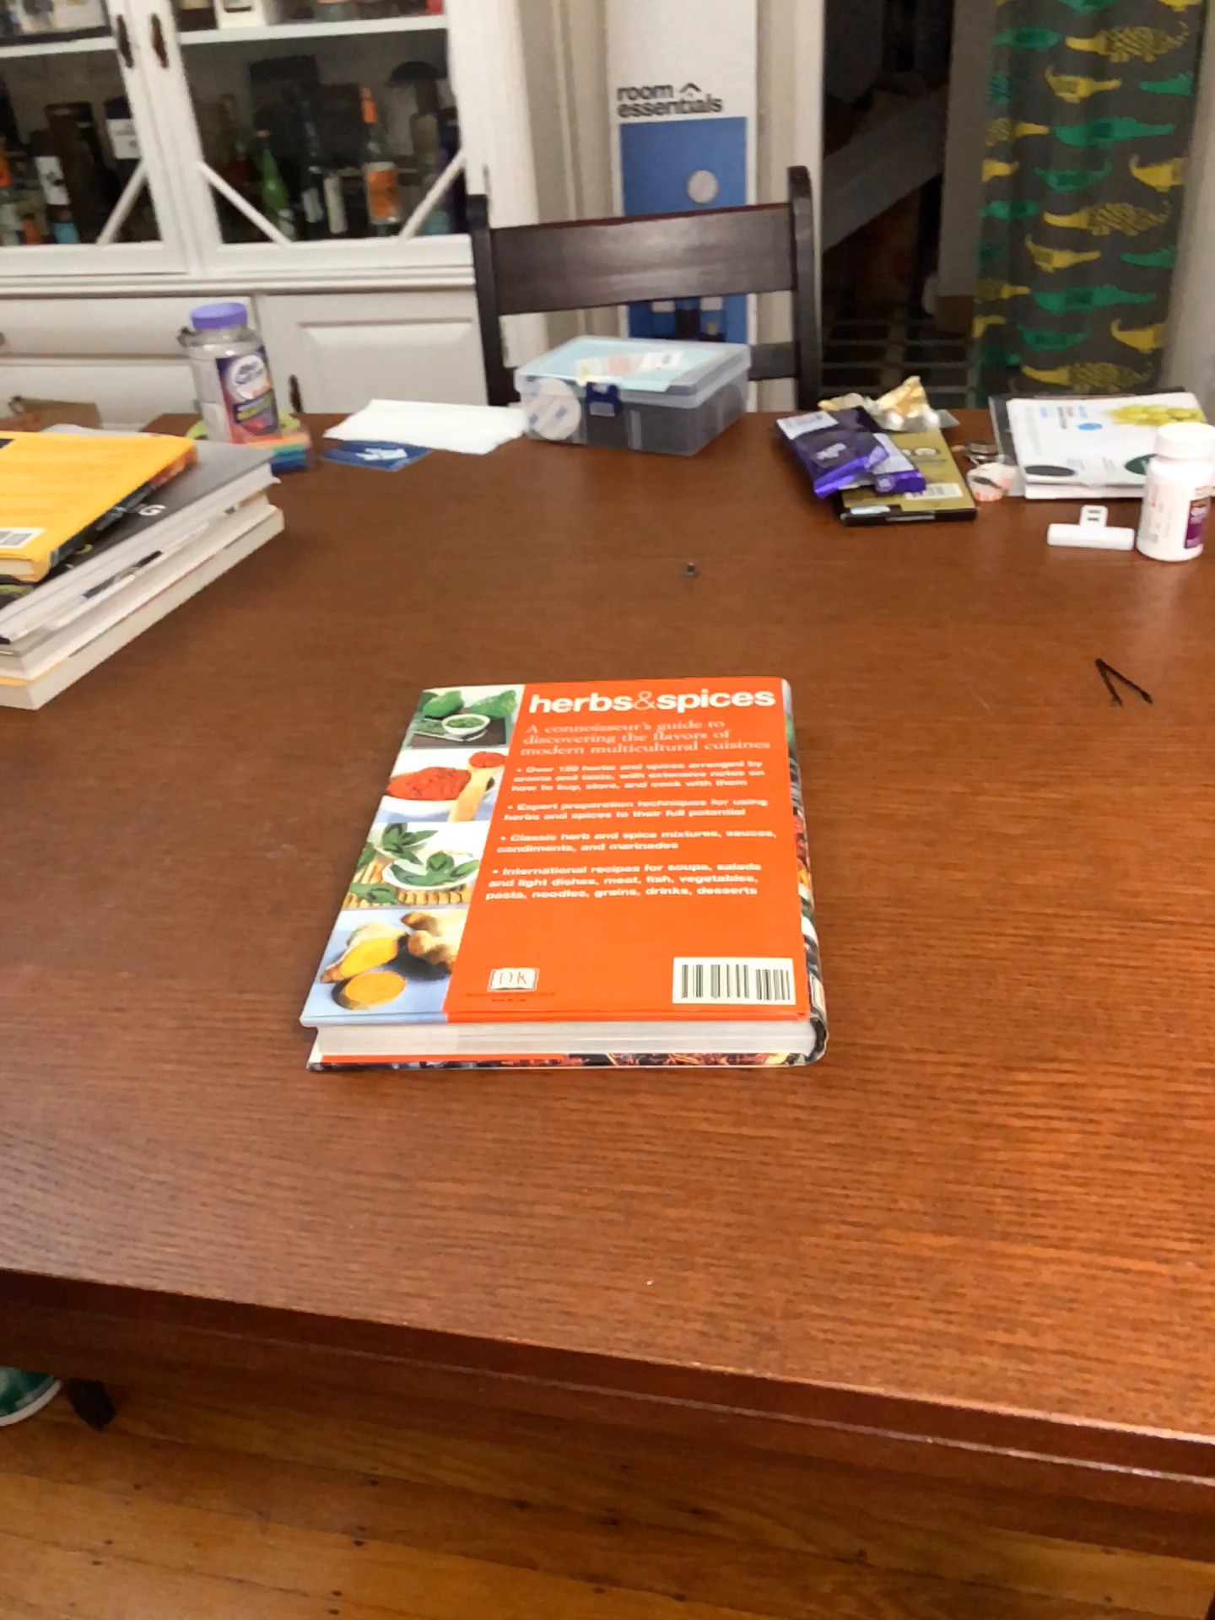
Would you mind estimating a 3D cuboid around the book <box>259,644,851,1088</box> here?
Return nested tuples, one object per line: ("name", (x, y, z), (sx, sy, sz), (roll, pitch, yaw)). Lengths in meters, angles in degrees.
("book", (-0.009, 0.010, 0.593), (0.210, 0.040, 0.272), (-1, 34, 6))
